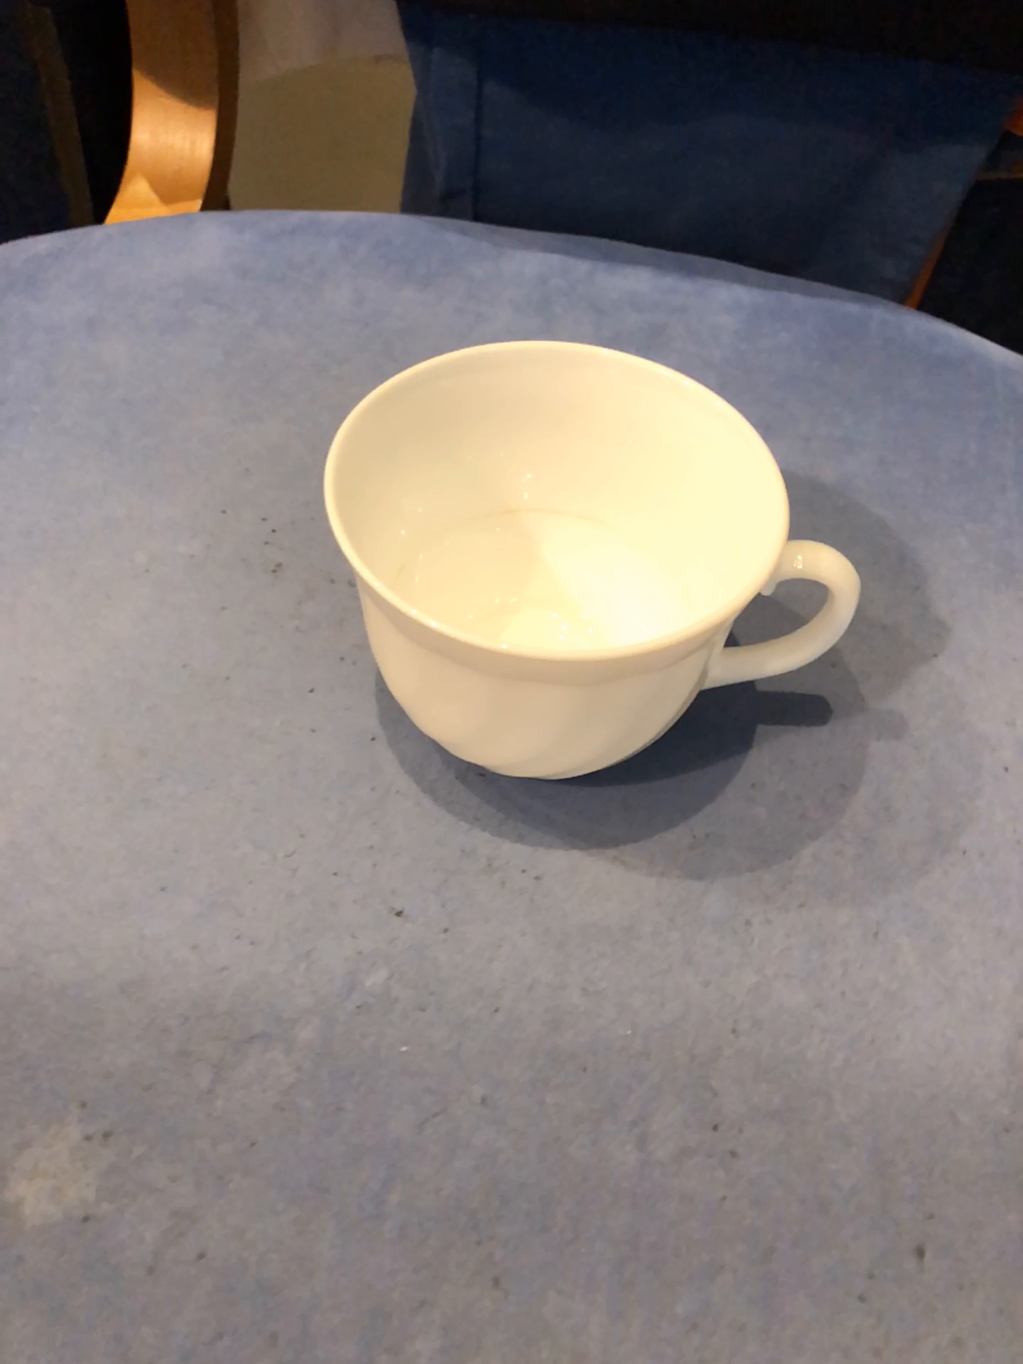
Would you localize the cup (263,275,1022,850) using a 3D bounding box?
[{"bbox_3d":[0.026,-0.025,0.219,0.120,0.050,0.080,10,52,4],"label":"cup"}]
